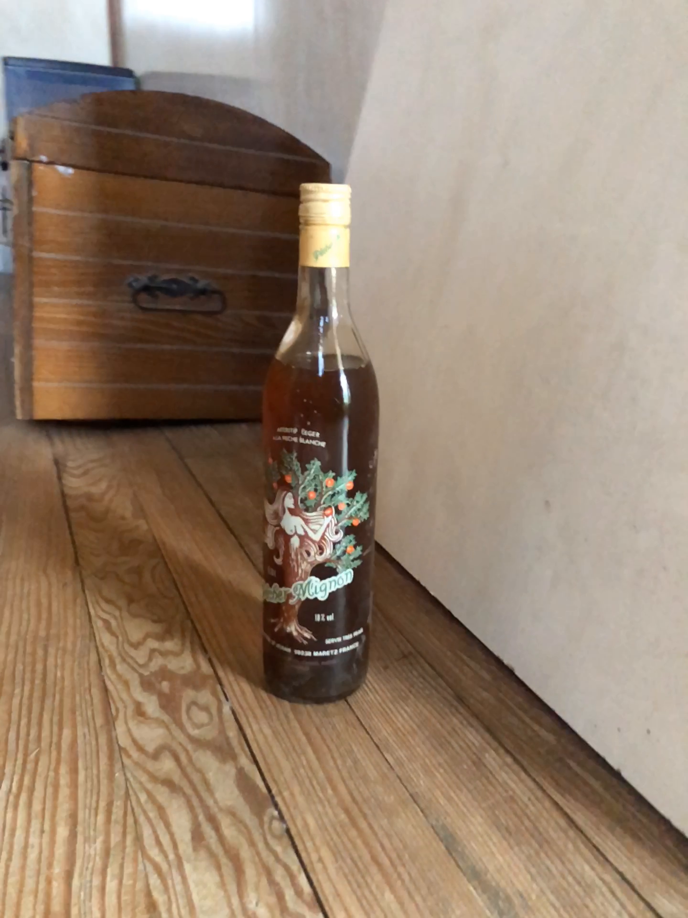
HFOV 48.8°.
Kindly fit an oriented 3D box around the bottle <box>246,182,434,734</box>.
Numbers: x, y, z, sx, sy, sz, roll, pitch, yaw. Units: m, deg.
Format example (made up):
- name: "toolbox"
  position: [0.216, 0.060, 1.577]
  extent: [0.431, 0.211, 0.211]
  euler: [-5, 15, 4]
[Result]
- name: "bottle"
  position: [-0.005, 0.002, 0.463]
  extent: [0.080, 0.319, 0.070]
  euler: [10, 21, 23]
